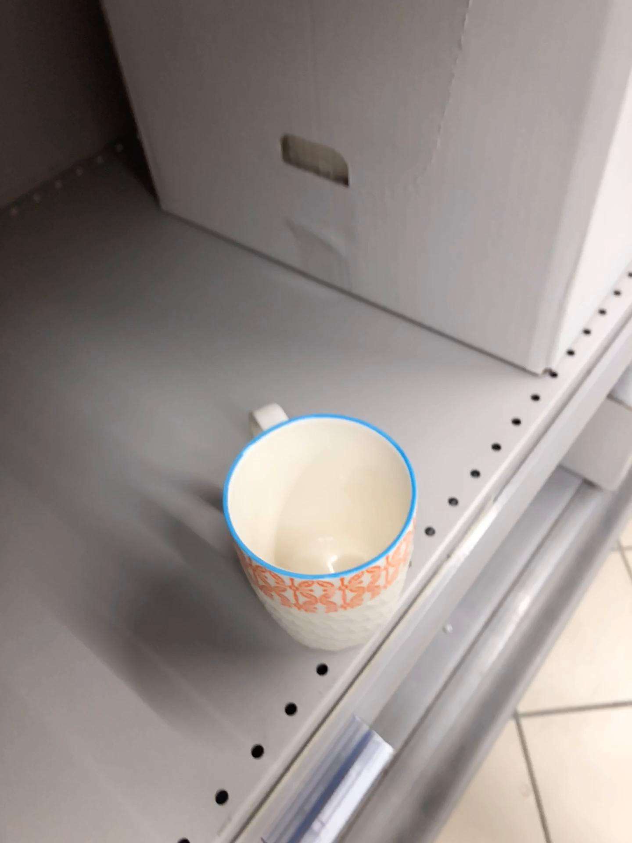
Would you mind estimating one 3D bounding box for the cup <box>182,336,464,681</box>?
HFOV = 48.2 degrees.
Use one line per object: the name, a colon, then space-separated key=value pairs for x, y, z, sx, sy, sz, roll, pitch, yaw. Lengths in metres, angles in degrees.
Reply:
cup: x=0.001 y=0.042 z=0.356 sx=0.091 sy=0.095 sz=0.117 roll=-19 pitch=52 yaw=-11
